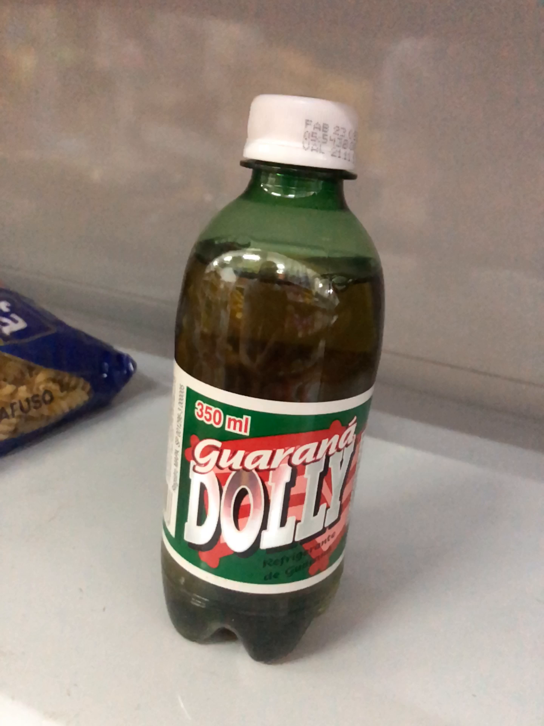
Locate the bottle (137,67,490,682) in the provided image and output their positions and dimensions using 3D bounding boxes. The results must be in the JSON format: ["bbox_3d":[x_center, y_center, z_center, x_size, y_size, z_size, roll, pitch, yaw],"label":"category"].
[{"bbox_3d":[-0.001,0.007,0.204,0.080,0.179,0.070,2,21,-11],"label":"bottle"}]
